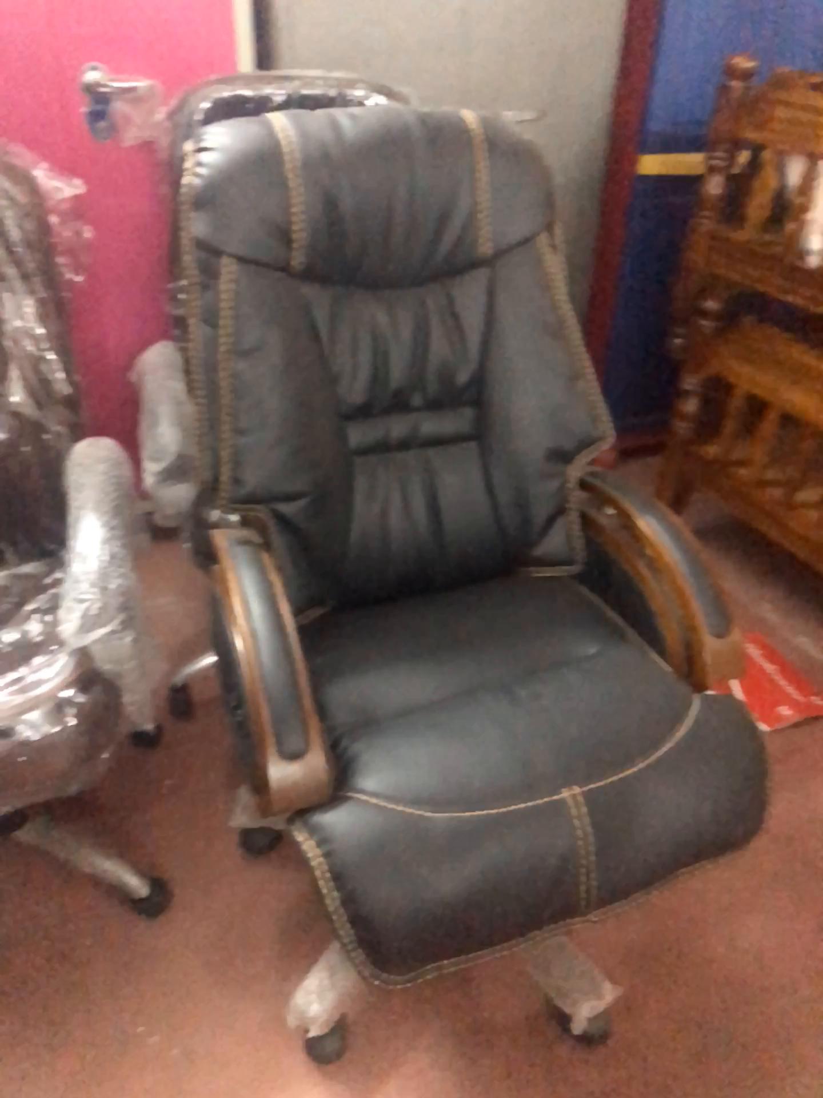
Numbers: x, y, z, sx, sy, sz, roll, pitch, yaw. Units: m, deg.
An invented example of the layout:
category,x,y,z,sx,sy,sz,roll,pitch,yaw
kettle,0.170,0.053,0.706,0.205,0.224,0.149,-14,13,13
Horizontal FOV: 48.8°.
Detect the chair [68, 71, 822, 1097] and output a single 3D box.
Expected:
category,x,y,z,sx,sy,sz,roll,pitch,yaw
chair,0.062,0.015,1.116,0.702,0.995,0.793,-11,35,-19
